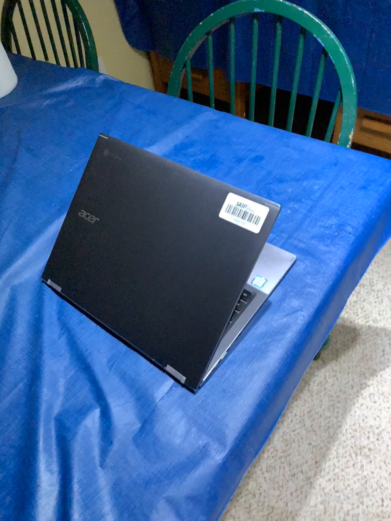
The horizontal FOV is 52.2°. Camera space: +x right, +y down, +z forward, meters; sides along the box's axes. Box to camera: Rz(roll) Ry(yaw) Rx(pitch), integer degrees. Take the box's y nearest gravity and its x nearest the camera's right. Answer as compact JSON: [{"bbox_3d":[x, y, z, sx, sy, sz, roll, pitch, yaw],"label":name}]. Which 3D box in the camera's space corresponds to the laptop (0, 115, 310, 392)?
[{"bbox_3d":[-0.049,-0.033,0.552,0.304,0.151,0.250,28,60,28],"label":"laptop"}]
